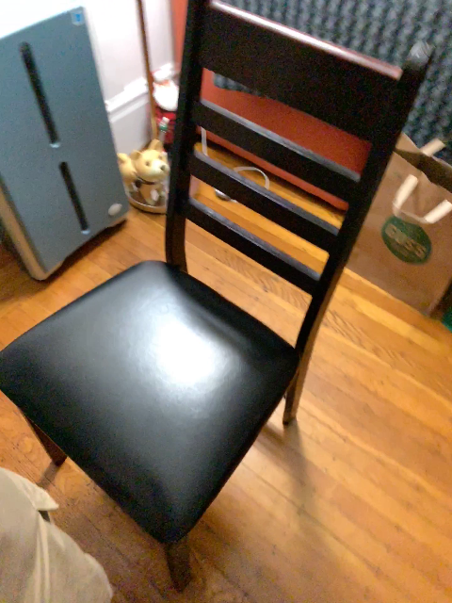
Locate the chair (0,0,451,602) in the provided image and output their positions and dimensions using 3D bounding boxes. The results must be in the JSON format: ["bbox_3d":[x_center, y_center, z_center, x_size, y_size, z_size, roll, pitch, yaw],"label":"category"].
[{"bbox_3d":[-0.099,0.051,0.723,0.491,0.866,0.551,32,59,21],"label":"chair"}]
